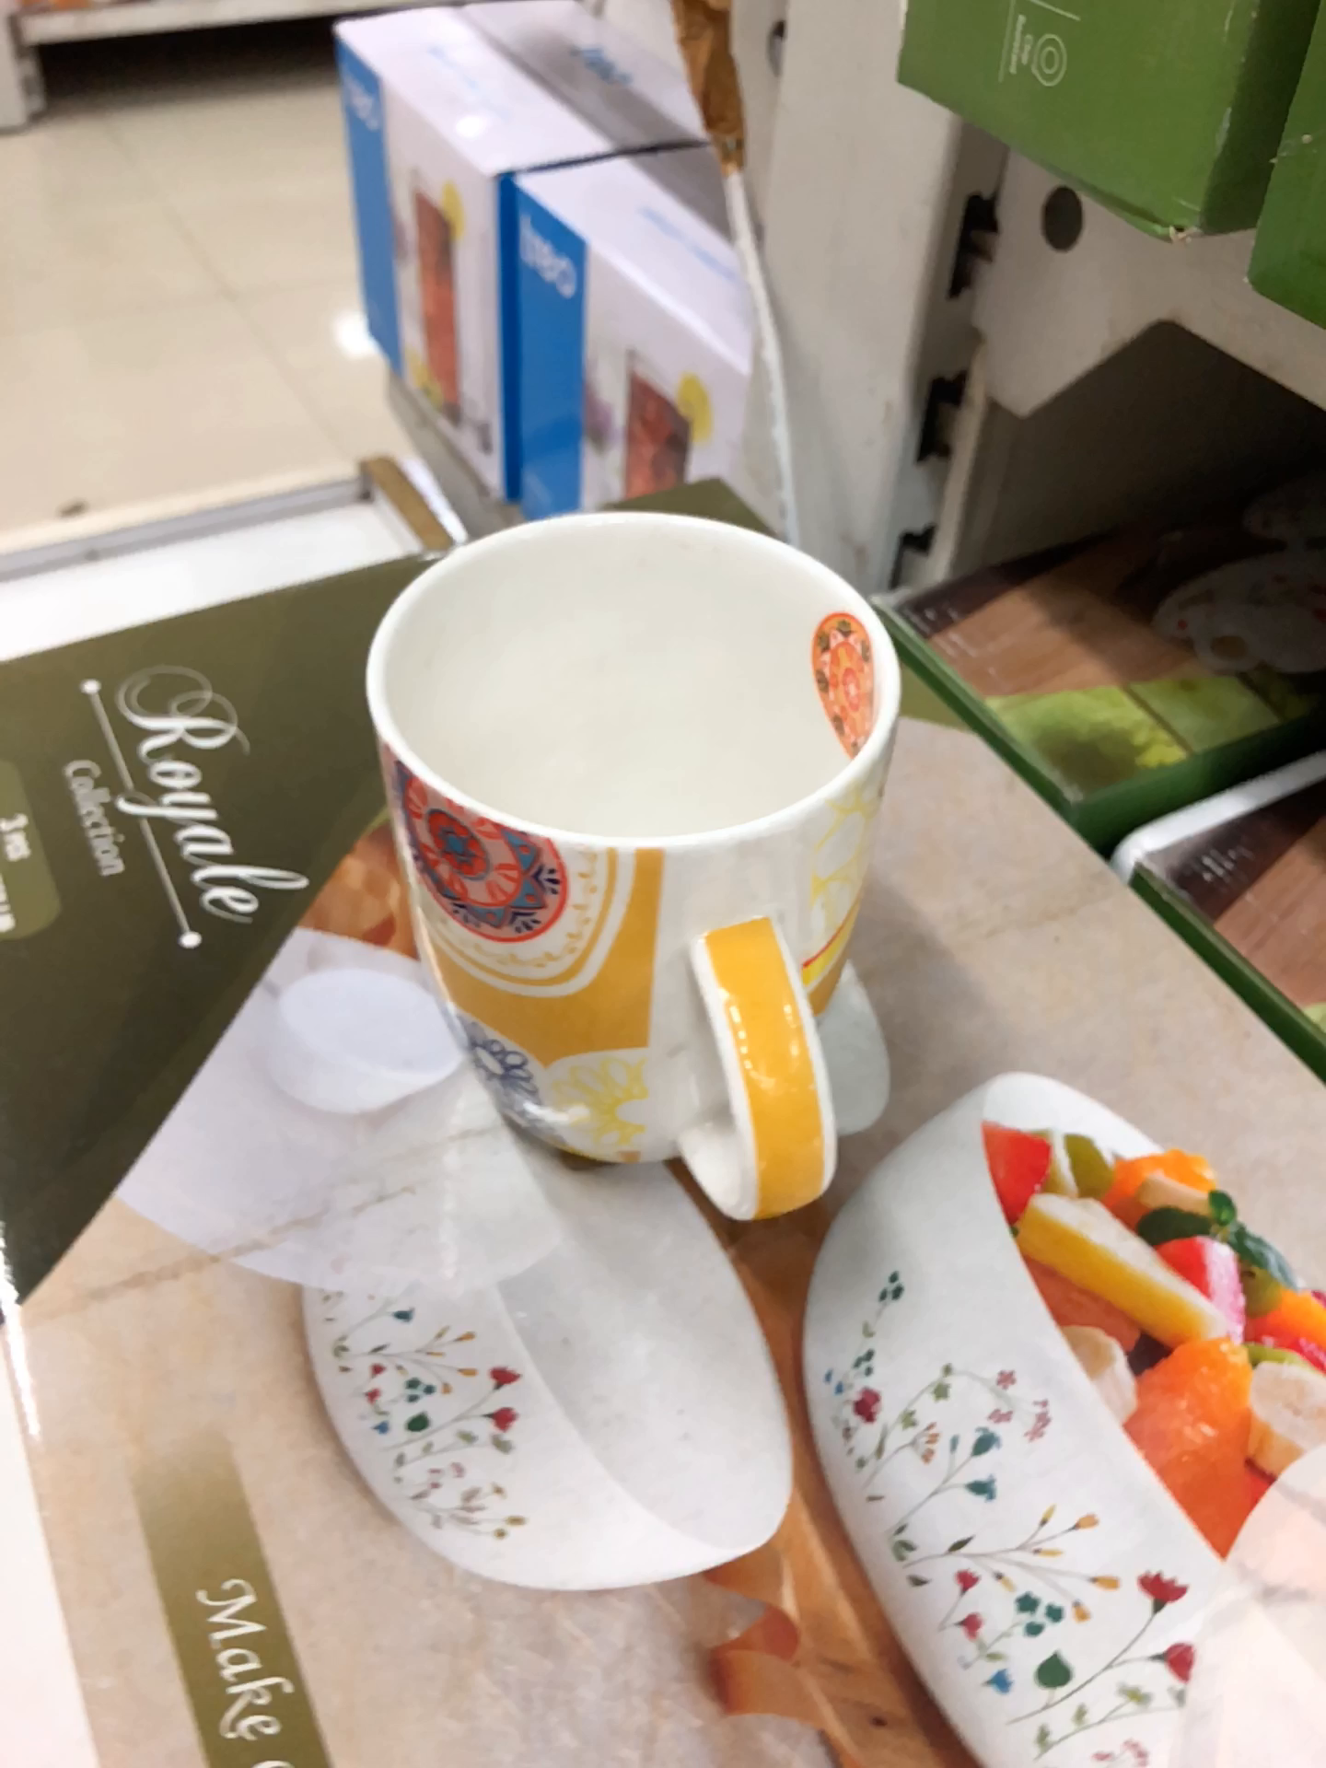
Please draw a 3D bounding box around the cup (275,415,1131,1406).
[{"bbox_3d":[-0.005,-0.002,0.244,0.090,0.089,0.121,-10,47,-14],"label":"cup"}]
